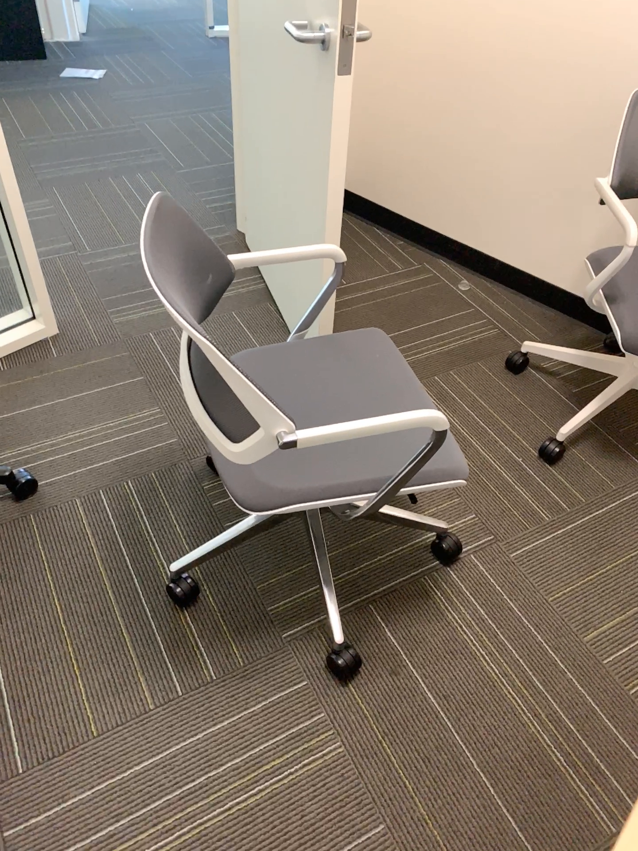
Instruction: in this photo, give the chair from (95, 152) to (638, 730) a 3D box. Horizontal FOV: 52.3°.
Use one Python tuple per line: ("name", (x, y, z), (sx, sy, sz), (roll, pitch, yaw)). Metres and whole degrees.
("chair", (-0.005, -0.008, 1.364), (0.730, 0.766, 0.804), (-9, 46, -13))
